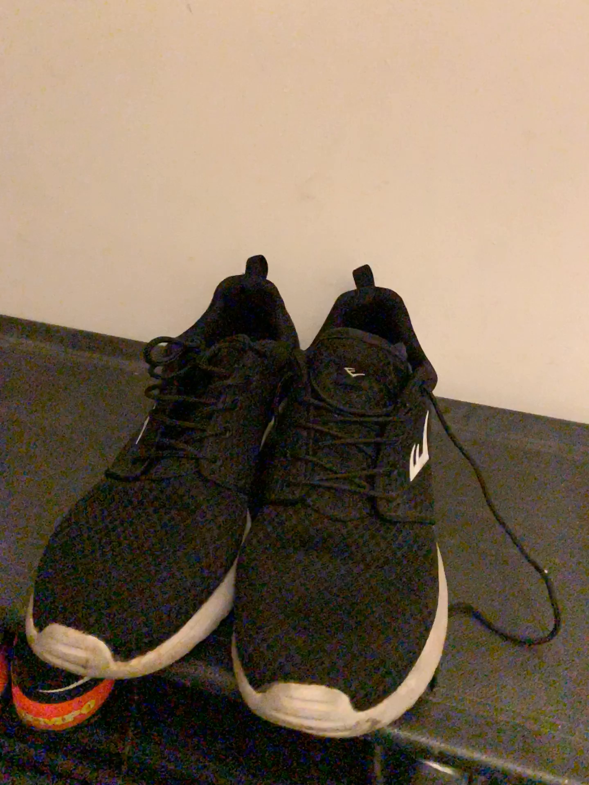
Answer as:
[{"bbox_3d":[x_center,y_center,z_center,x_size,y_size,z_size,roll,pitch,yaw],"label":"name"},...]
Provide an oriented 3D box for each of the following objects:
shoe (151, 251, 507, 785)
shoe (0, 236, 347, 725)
[{"bbox_3d":[0.044,0.028,0.349,0.120,0.099,0.303,10,35,11],"label":"shoe"},{"bbox_3d":[-0.058,0.012,0.367,0.110,0.099,0.303,11,36,12],"label":"shoe"}]
